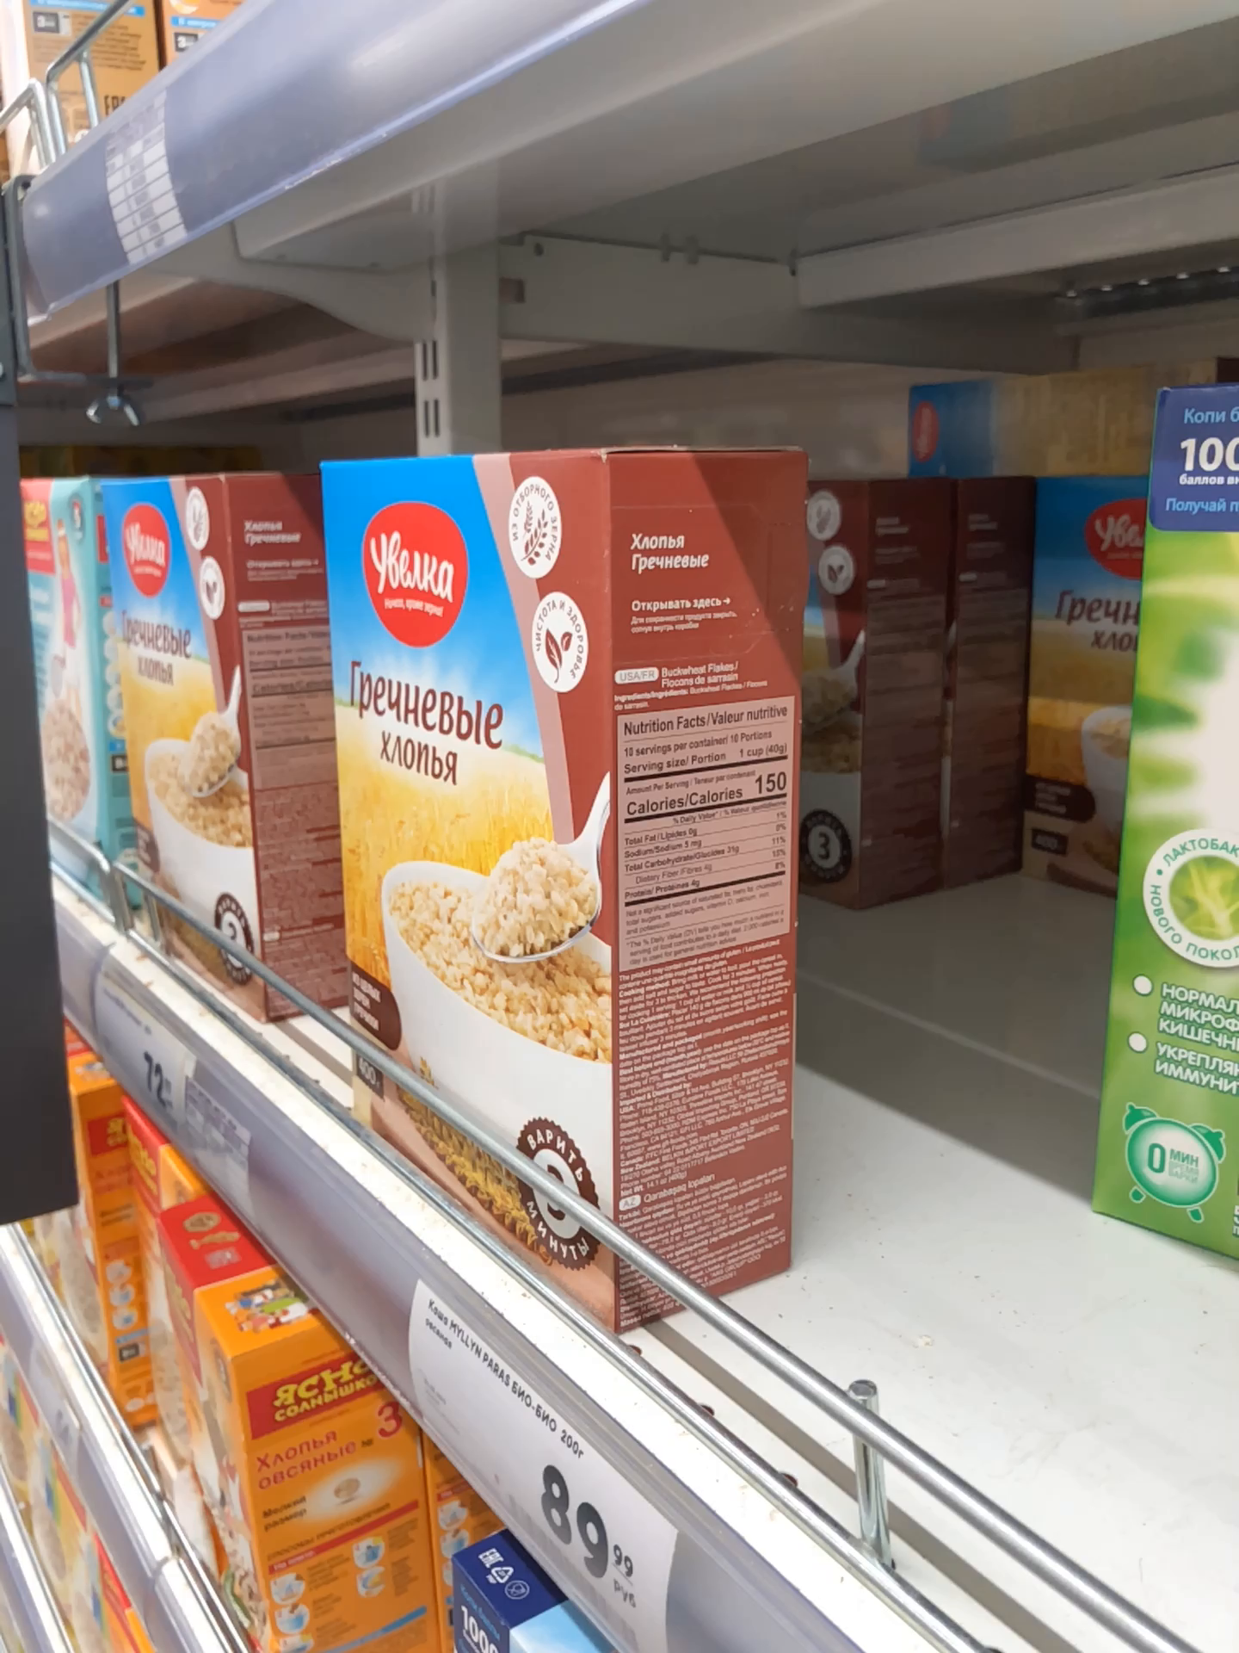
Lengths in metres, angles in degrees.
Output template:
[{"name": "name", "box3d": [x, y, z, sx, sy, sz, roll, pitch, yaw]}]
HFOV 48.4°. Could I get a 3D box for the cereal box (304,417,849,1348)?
[{"name": "cereal box", "box3d": [-0.018, 0.000, 0.349, 0.060, 0.189, 0.150, -8, 15, -33]}]
